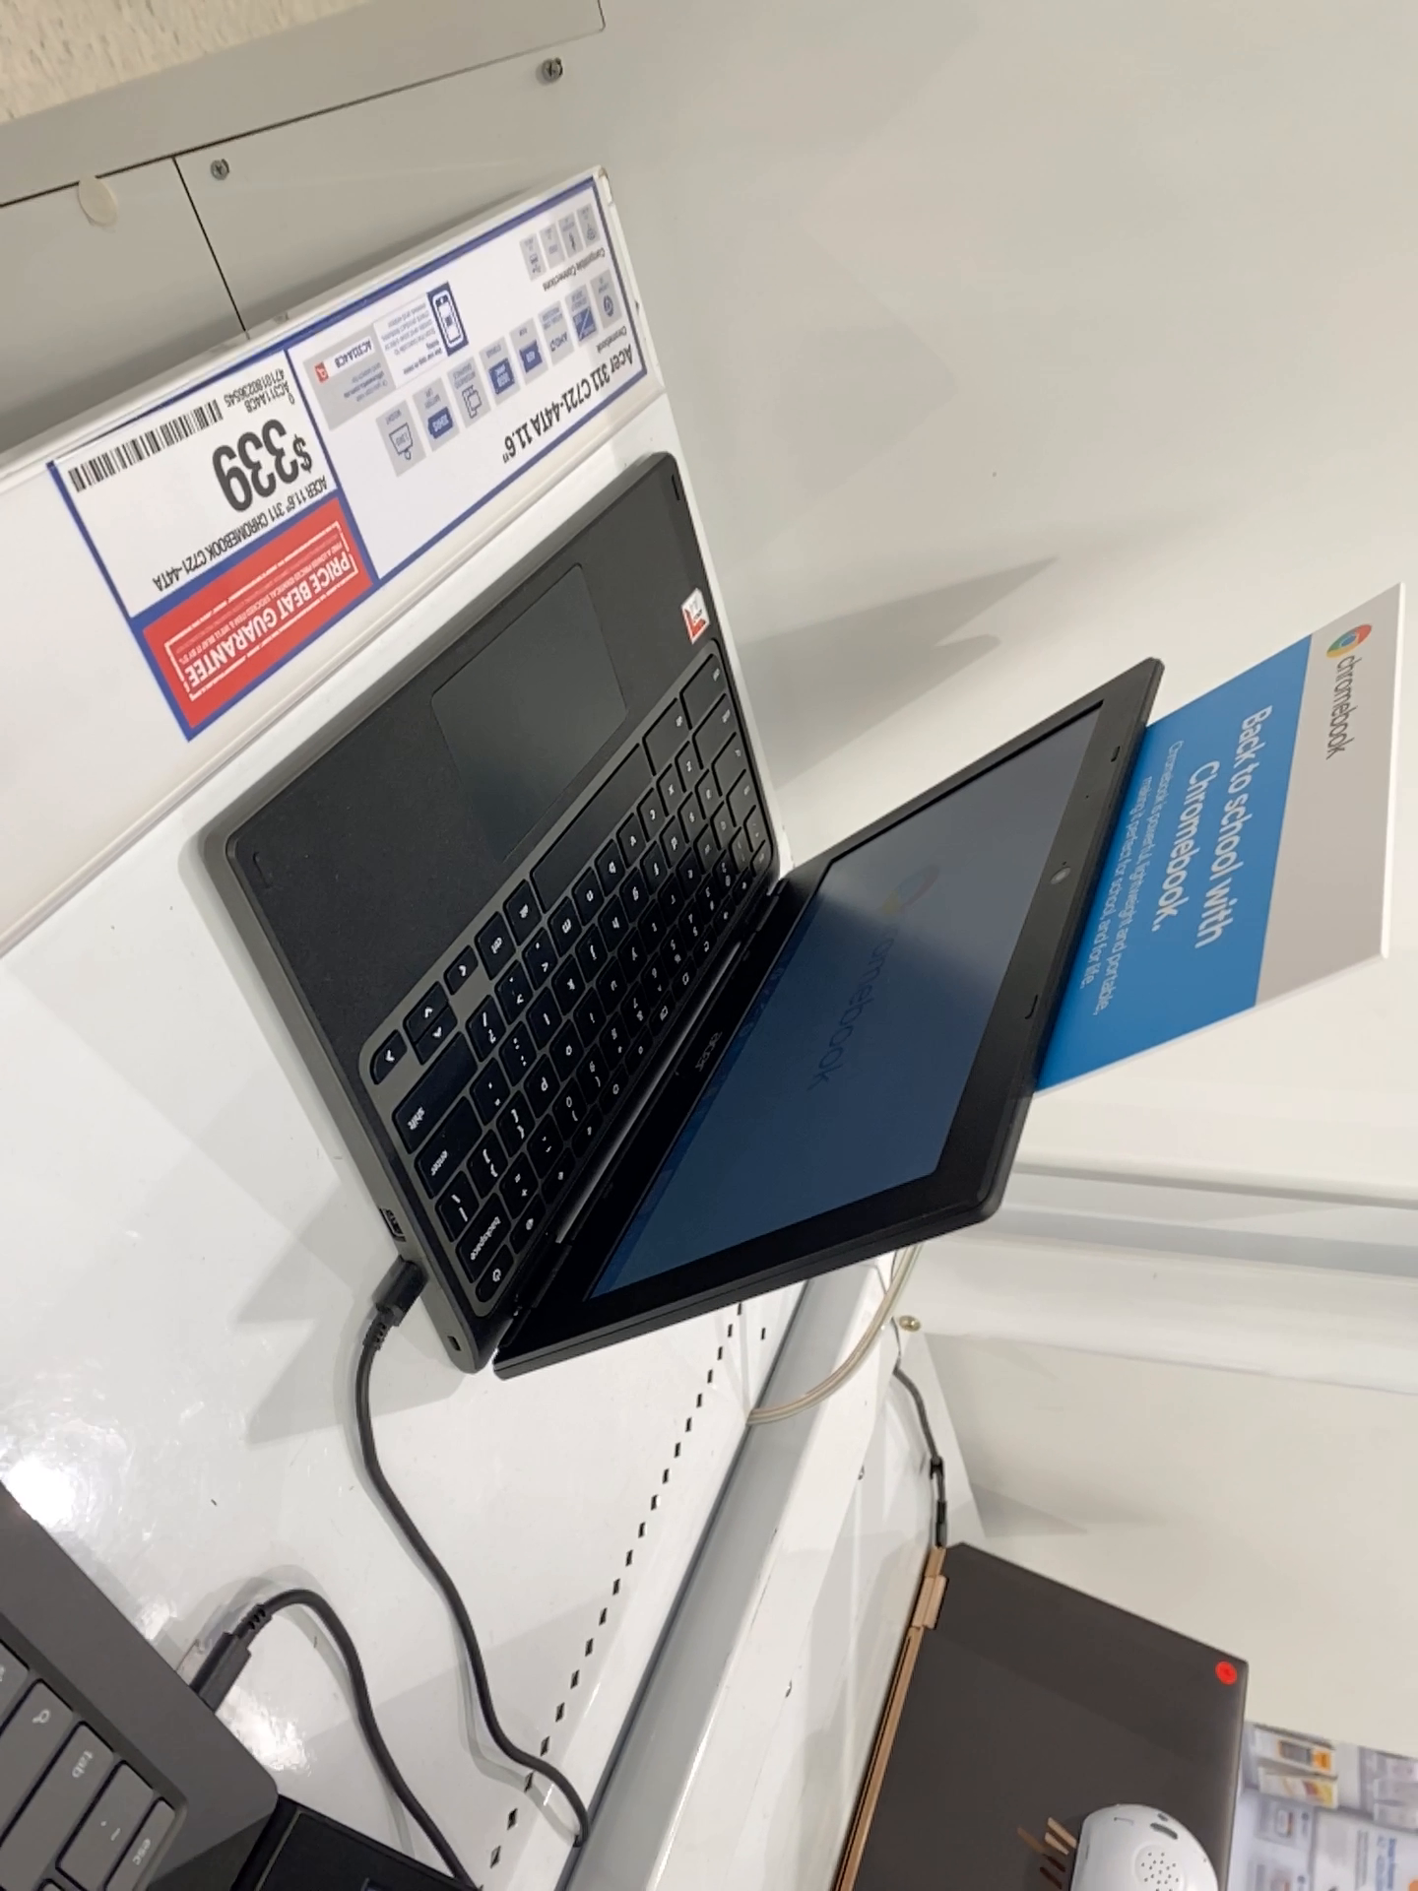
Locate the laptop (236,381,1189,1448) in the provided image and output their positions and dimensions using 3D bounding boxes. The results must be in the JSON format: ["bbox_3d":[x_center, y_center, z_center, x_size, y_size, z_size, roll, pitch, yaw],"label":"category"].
[{"bbox_3d":[0.040,-0.029,0.489,0.290,0.181,0.201,-59,140,-46],"label":"laptop"}]
